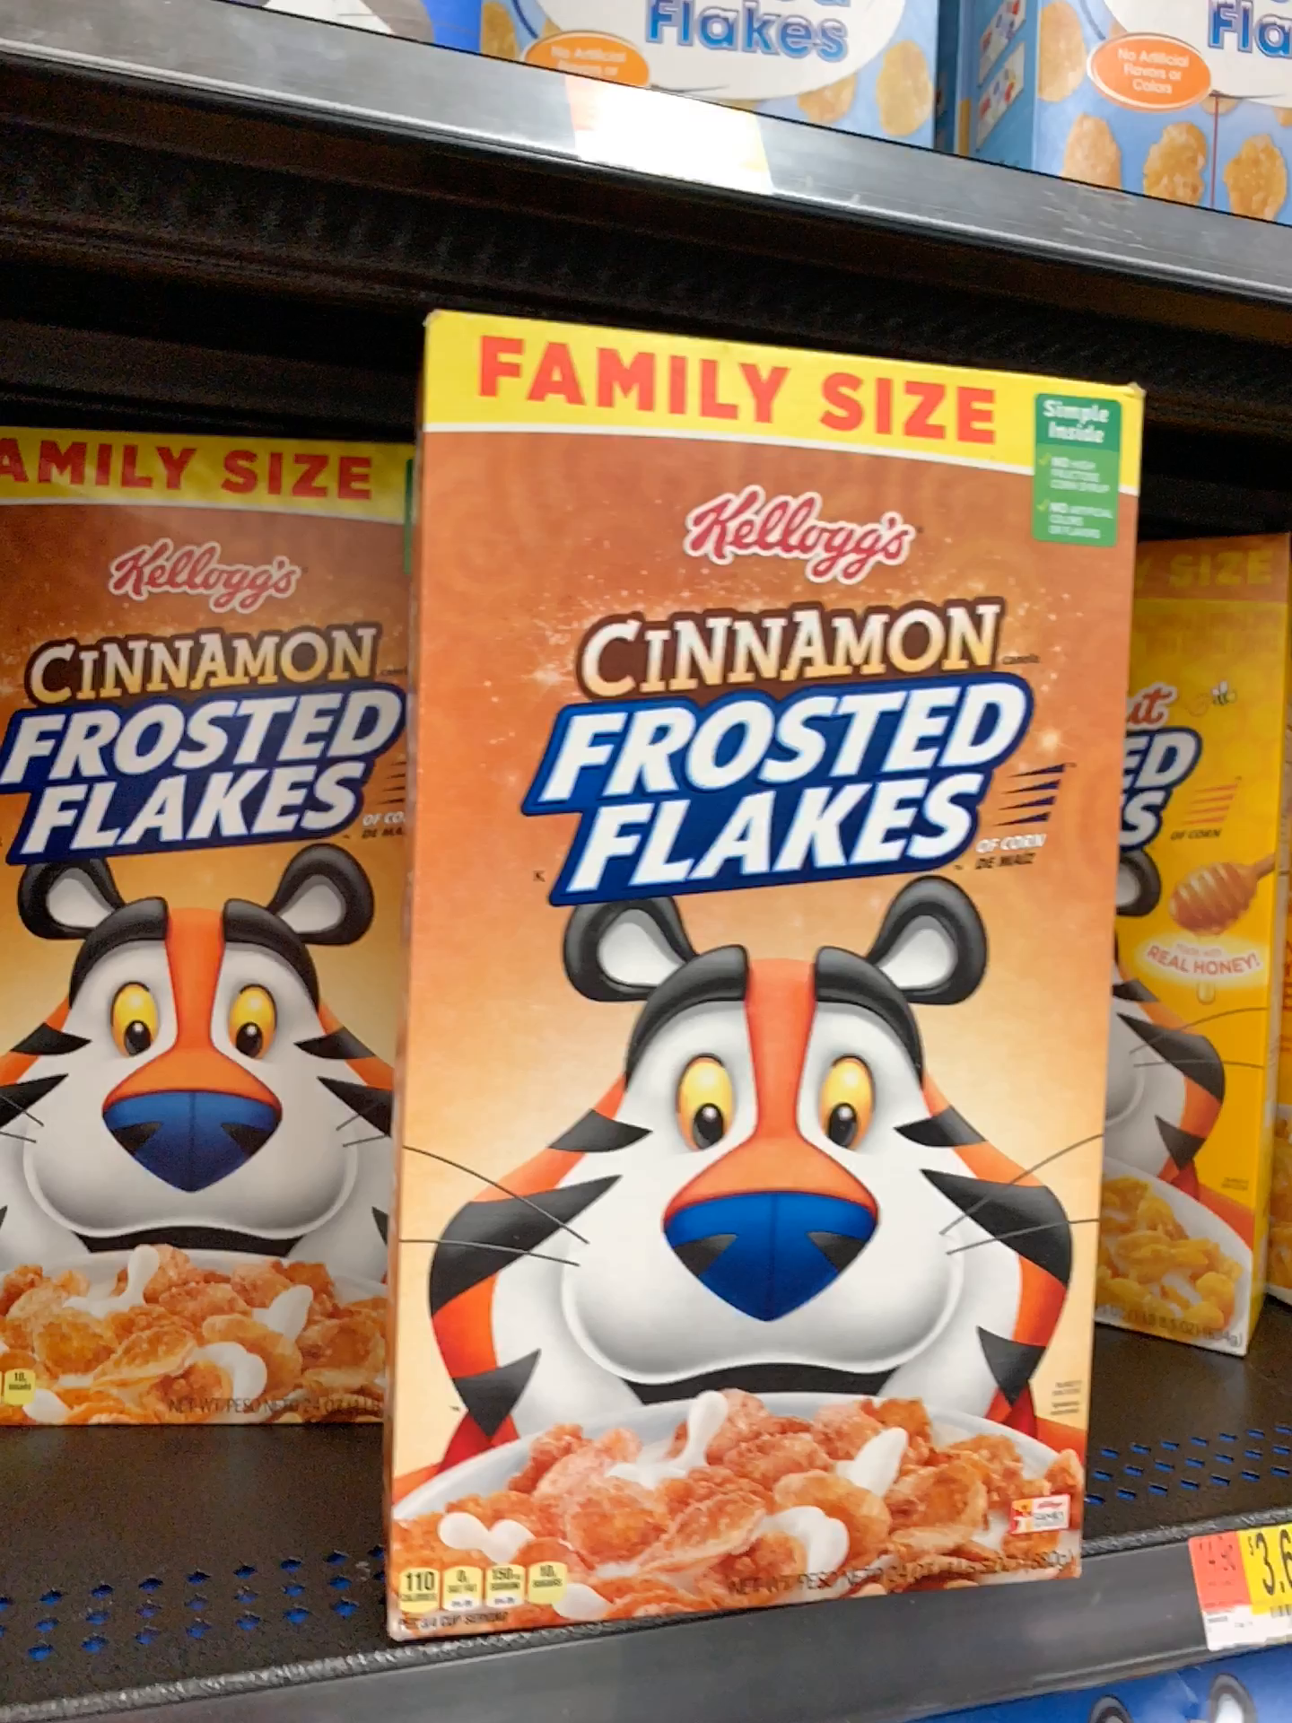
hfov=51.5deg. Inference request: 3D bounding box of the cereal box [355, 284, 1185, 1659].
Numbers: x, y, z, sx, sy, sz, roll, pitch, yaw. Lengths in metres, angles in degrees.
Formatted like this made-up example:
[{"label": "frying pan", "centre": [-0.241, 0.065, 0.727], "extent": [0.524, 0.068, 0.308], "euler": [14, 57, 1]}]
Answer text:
[{"label": "cereal box", "centre": [0.030, 0.032, 0.386], "extent": [0.210, 0.340, 0.070], "euler": [2, 2, -12]}]
